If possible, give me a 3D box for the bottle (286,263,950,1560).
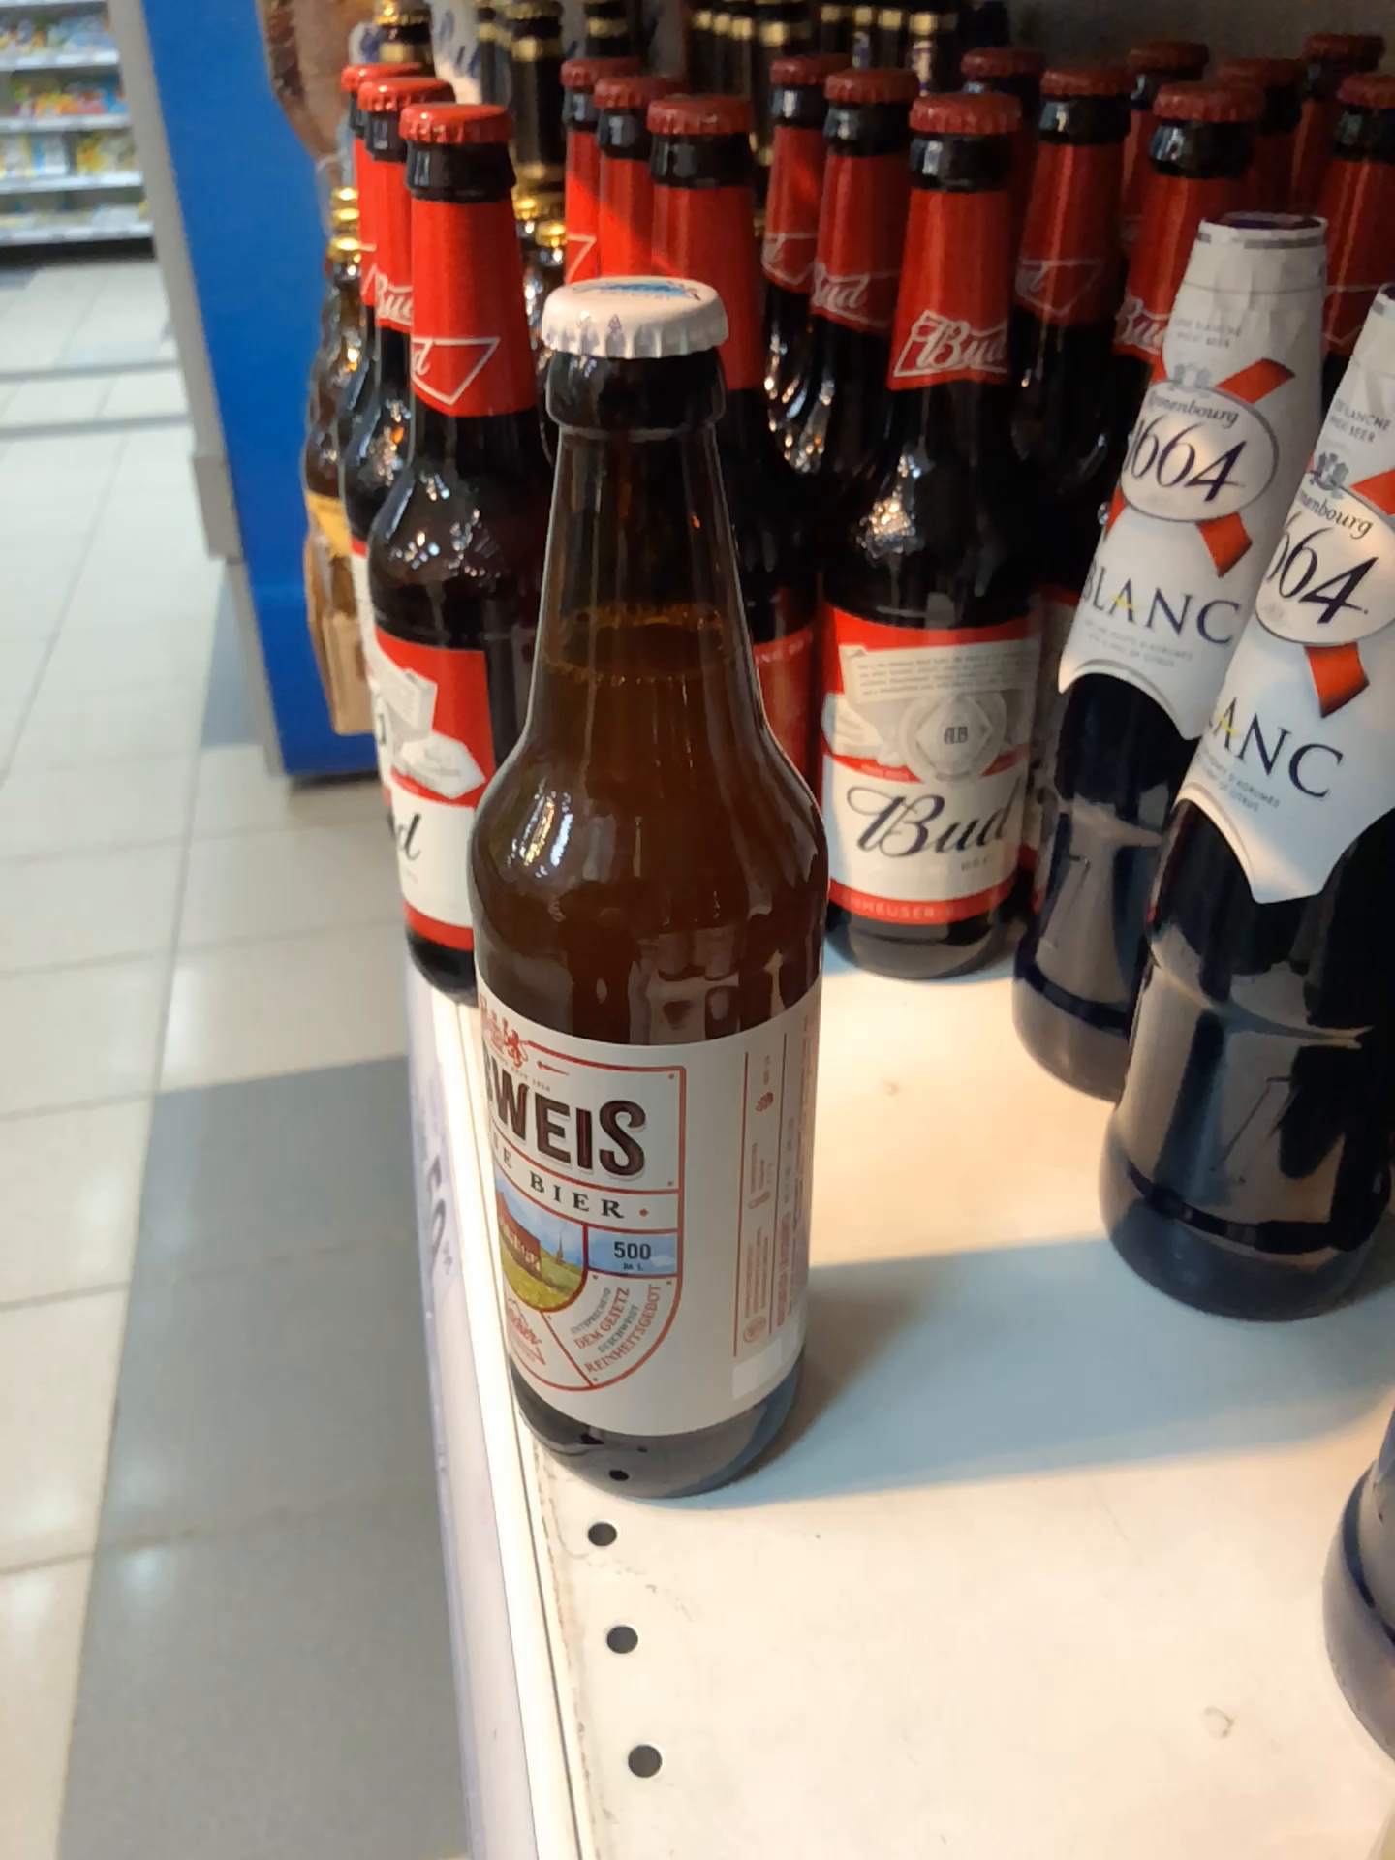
[{"bbox_3d":[-0.011,0.003,0.300,0.070,0.229,0.080,-23,38,-30],"label":"bottle"}]
